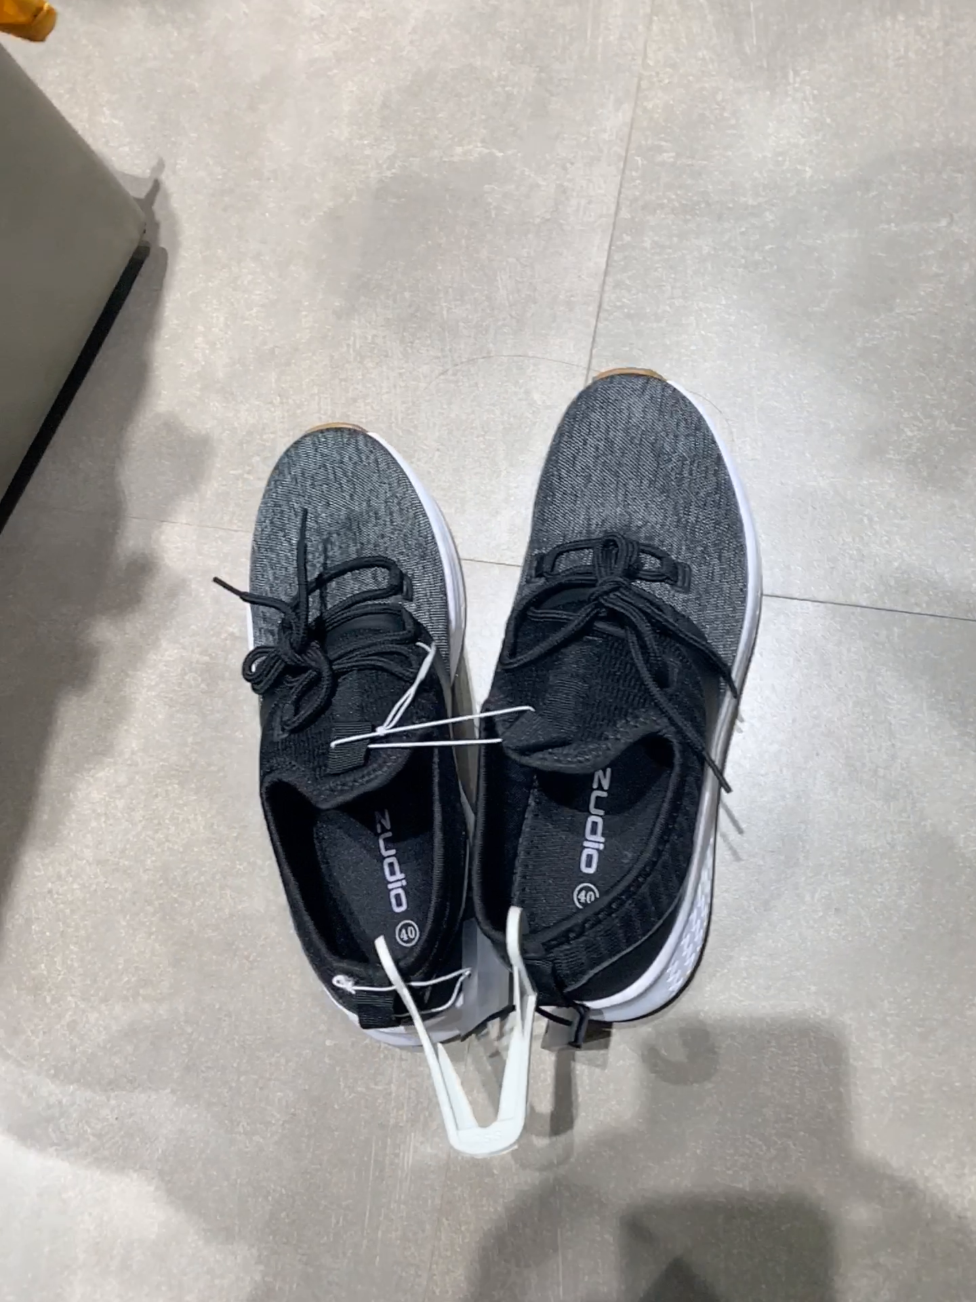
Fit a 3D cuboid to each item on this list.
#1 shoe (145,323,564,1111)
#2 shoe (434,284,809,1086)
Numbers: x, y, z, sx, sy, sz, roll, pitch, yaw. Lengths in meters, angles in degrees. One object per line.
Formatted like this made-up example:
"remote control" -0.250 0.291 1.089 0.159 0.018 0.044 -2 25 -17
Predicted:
"shoe" -0.055 0.024 0.416 0.106 0.096 0.278 -13 76 9
"shoe" 0.059 0.007 0.398 0.107 0.096 0.278 4 79 13
